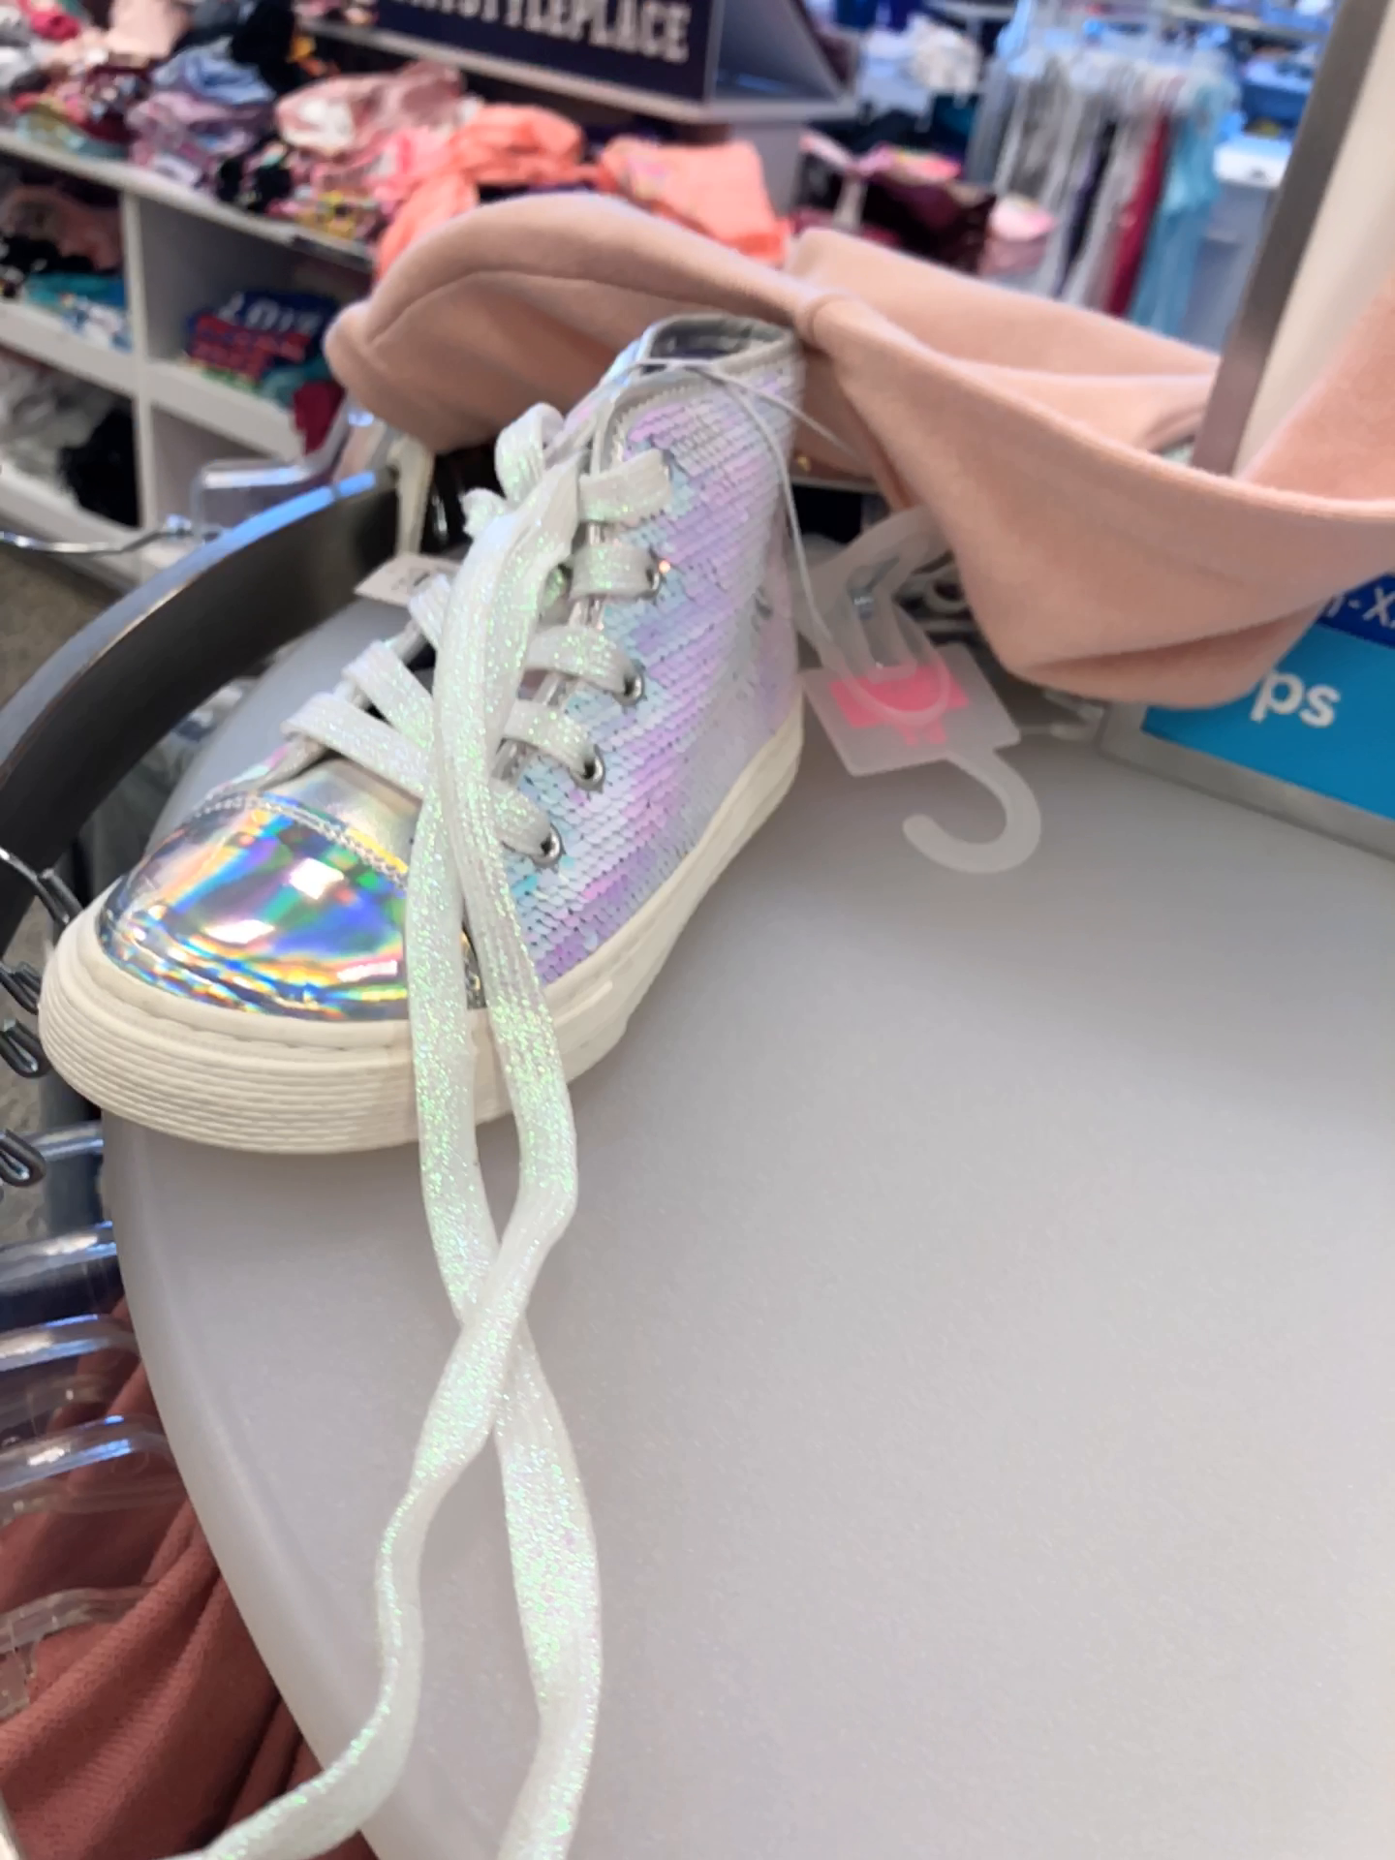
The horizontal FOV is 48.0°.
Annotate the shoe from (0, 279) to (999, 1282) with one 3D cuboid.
[{"bbox_3d":[-0.030,-0.051,0.308,0.090,0.105,0.212,22,35,20],"label":"shoe"}]
